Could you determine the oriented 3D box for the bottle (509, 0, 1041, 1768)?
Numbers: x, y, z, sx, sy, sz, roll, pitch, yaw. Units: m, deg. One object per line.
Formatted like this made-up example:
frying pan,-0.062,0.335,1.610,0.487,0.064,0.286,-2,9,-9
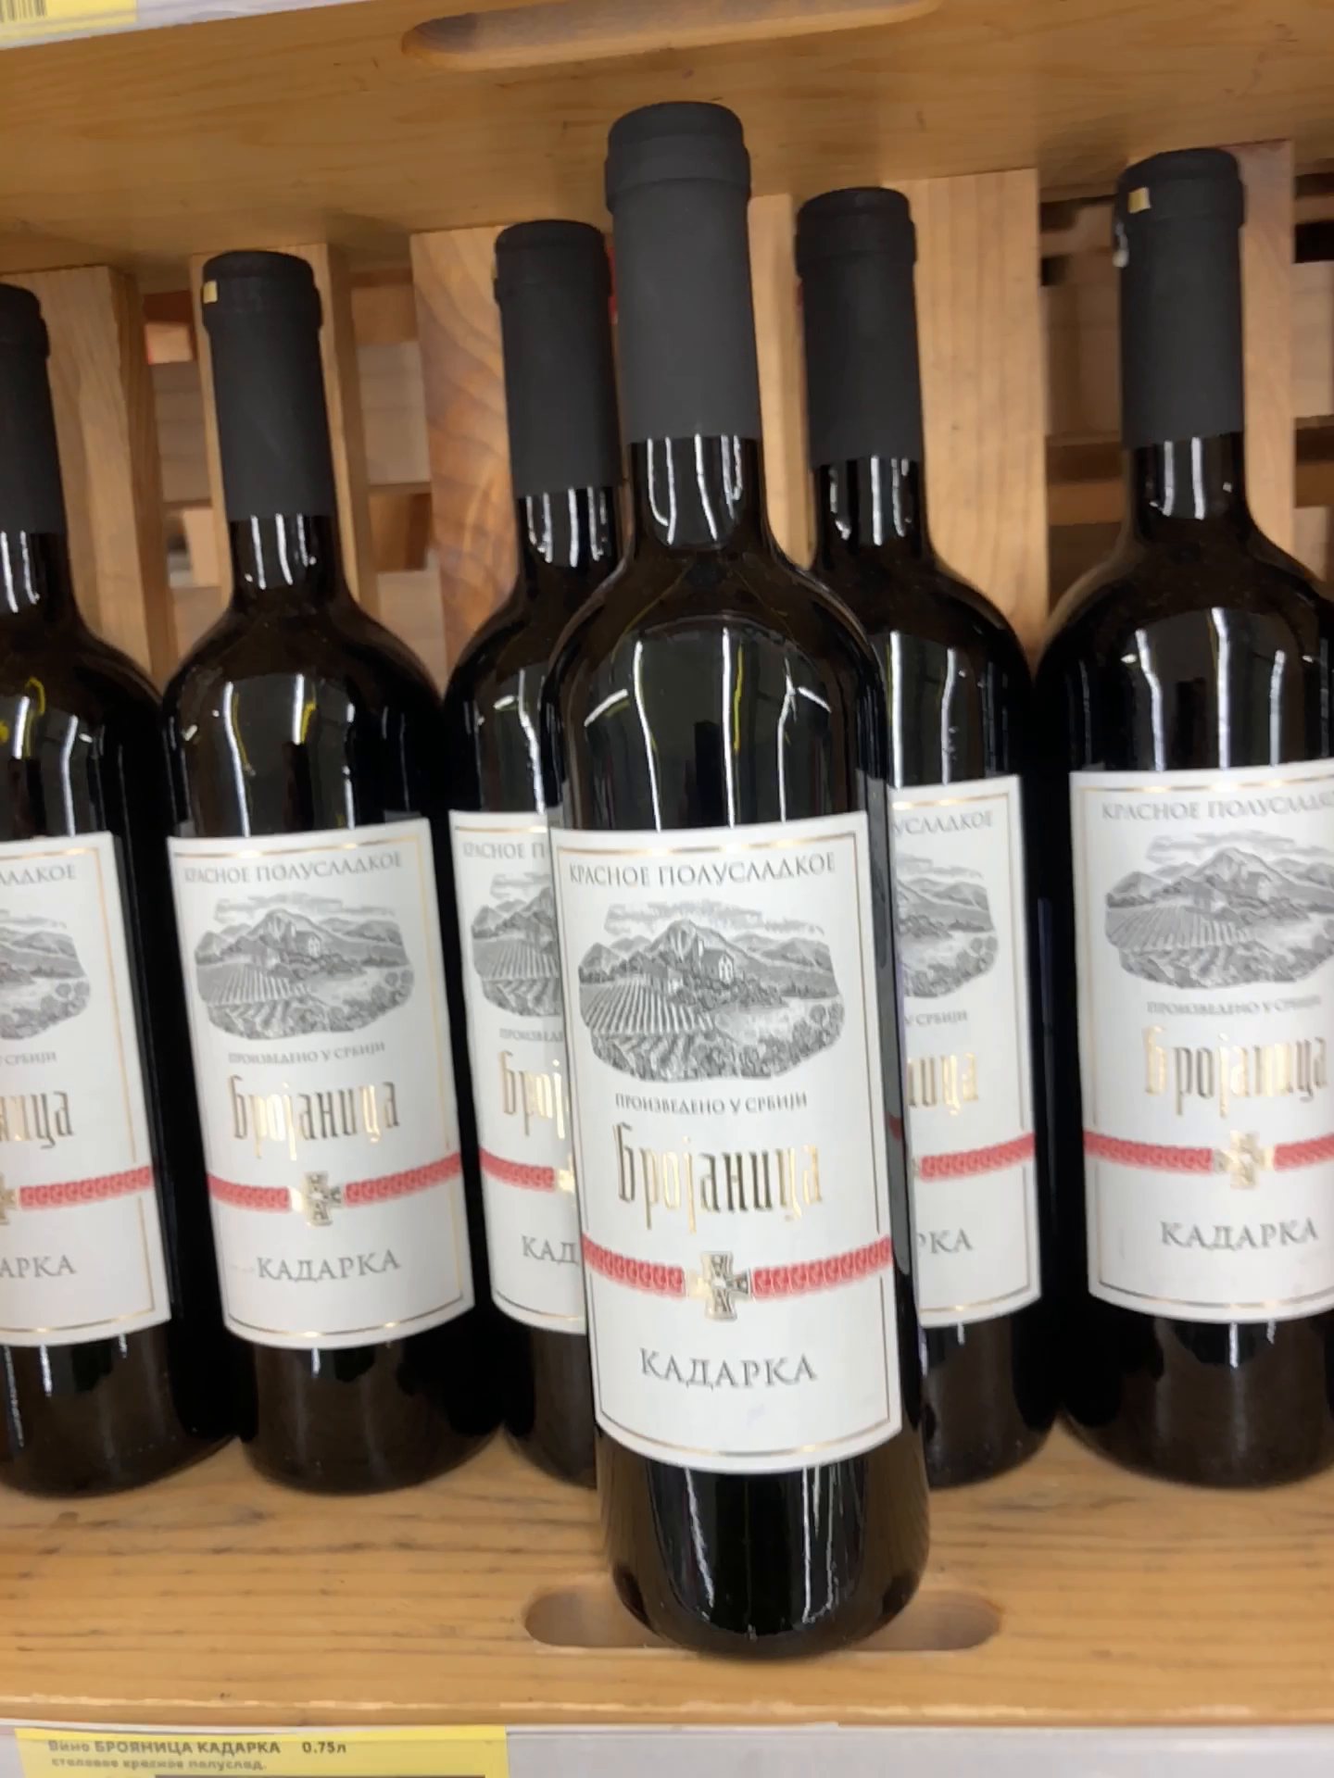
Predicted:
bottle,0.027,0.001,0.290,0.080,0.080,0.309,-1,99,8
